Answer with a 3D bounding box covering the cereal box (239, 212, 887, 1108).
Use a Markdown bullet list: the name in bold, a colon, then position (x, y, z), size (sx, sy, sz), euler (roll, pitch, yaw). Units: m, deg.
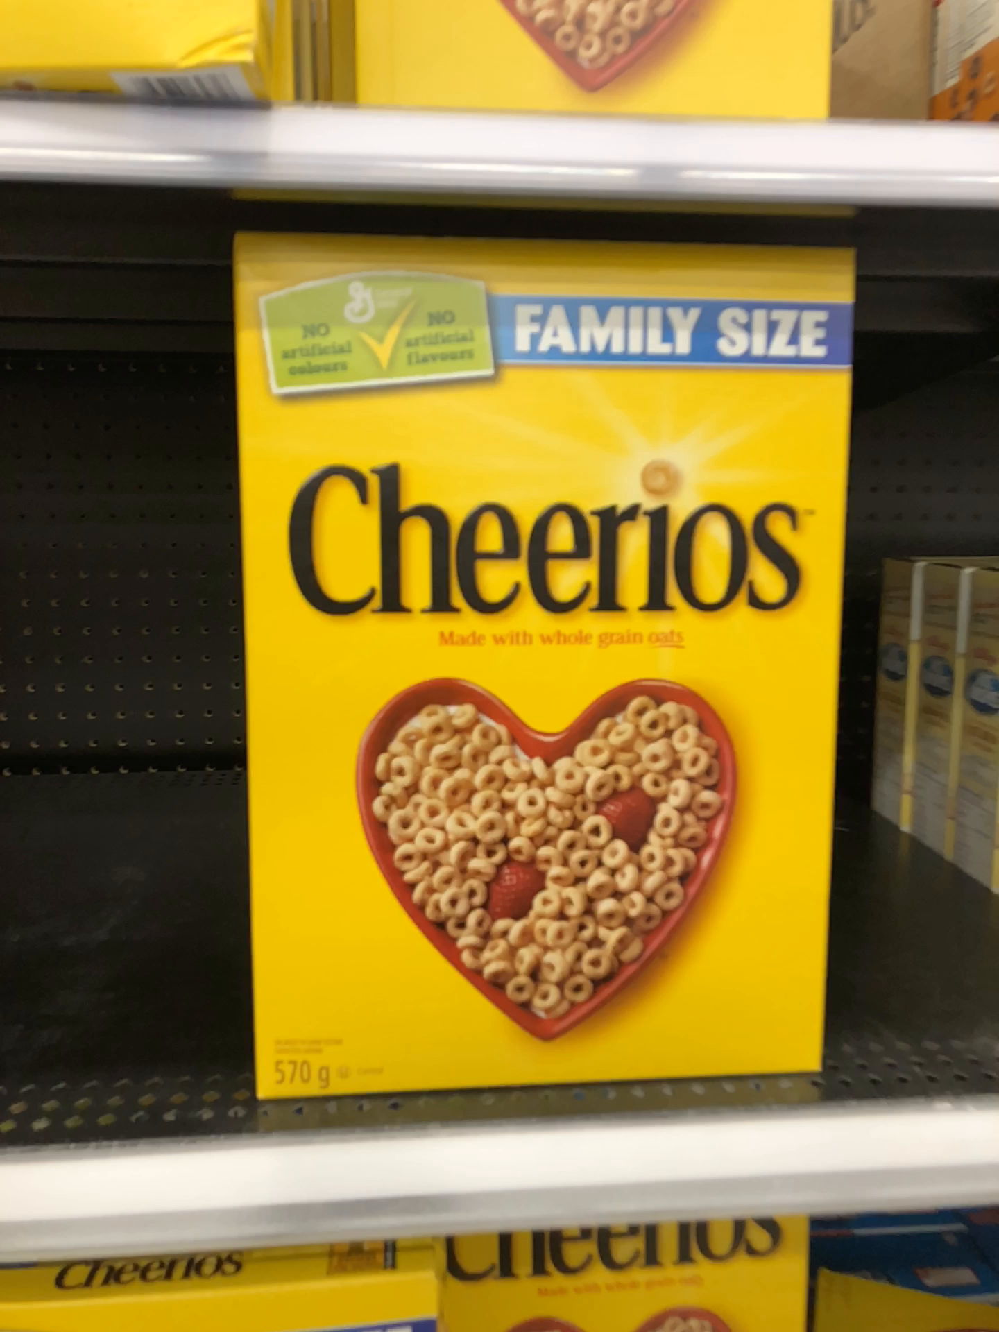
- **cereal box**: position (0.019, 0.000, 0.469), size (0.240, 0.339, 0.090), euler (0, 9, -7)
